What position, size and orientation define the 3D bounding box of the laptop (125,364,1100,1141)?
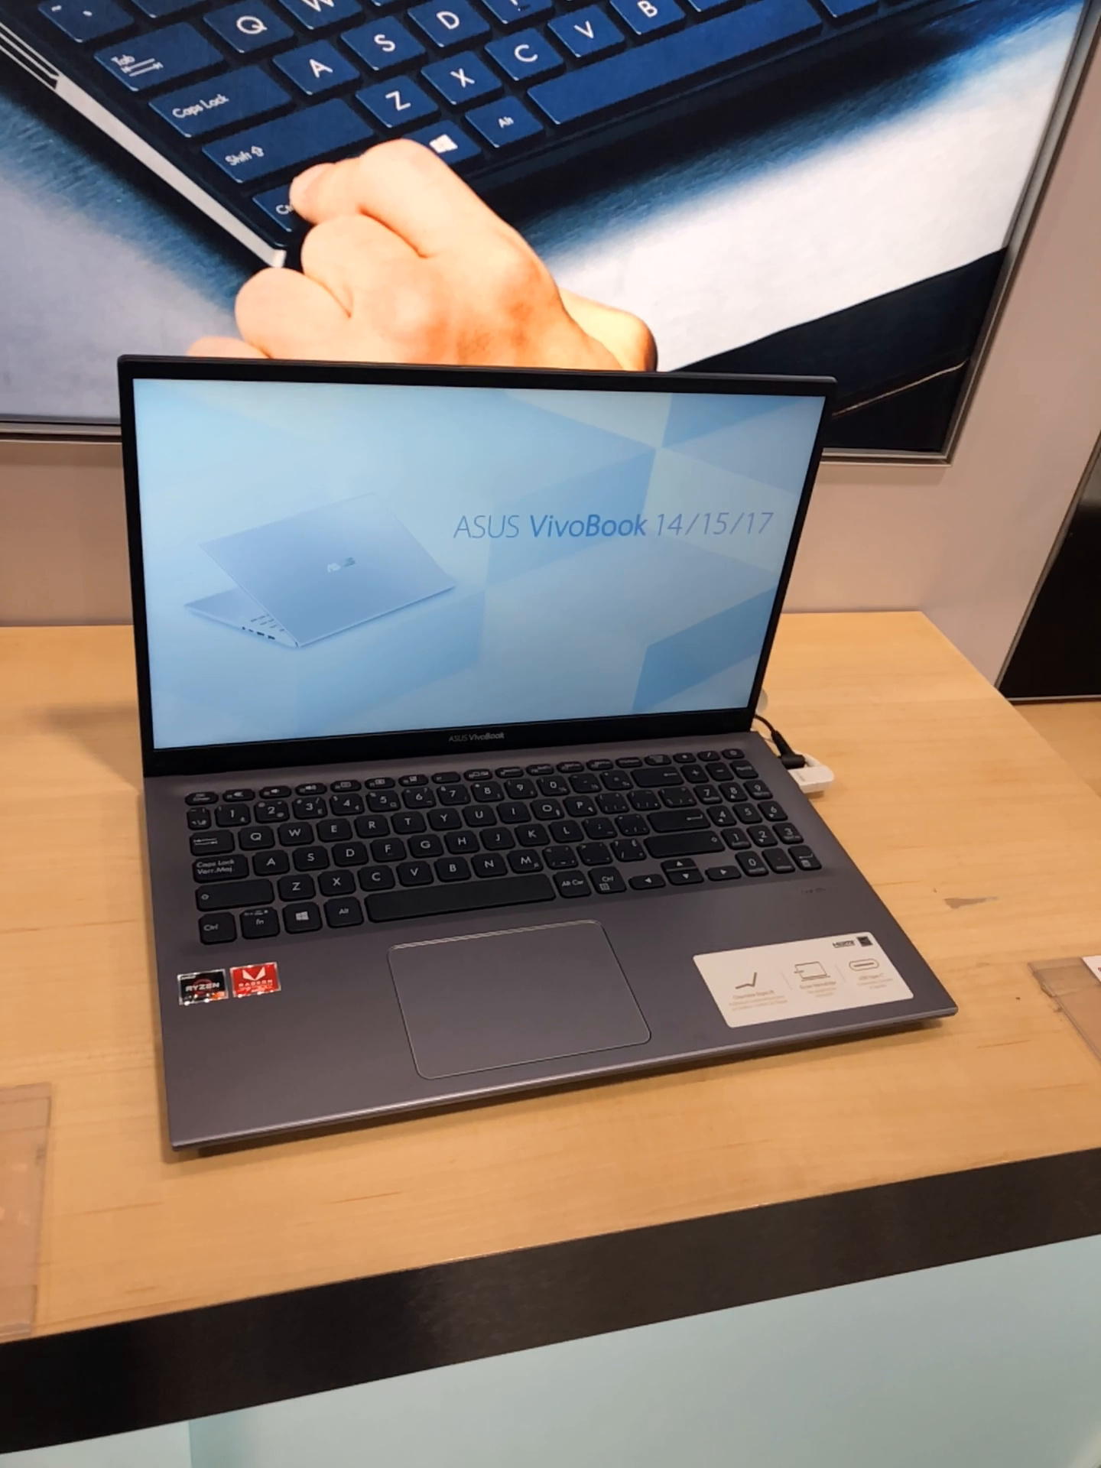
[{"bbox_3d":[0.005,-0.013,0.539,0.349,0.211,0.242,-4,37,-18],"label":"laptop"}]
